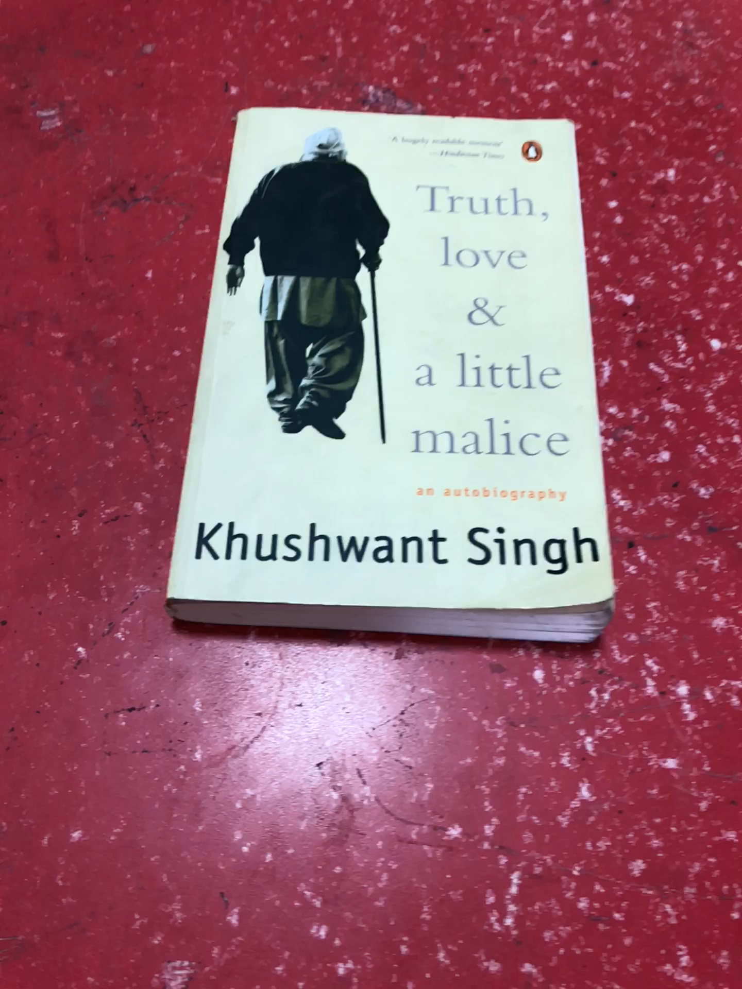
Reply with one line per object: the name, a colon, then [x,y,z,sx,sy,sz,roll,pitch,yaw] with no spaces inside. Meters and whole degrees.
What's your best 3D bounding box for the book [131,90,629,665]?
book: [0.008,-0.052,0.296,0.140,0.040,0.210,3,65,2]
